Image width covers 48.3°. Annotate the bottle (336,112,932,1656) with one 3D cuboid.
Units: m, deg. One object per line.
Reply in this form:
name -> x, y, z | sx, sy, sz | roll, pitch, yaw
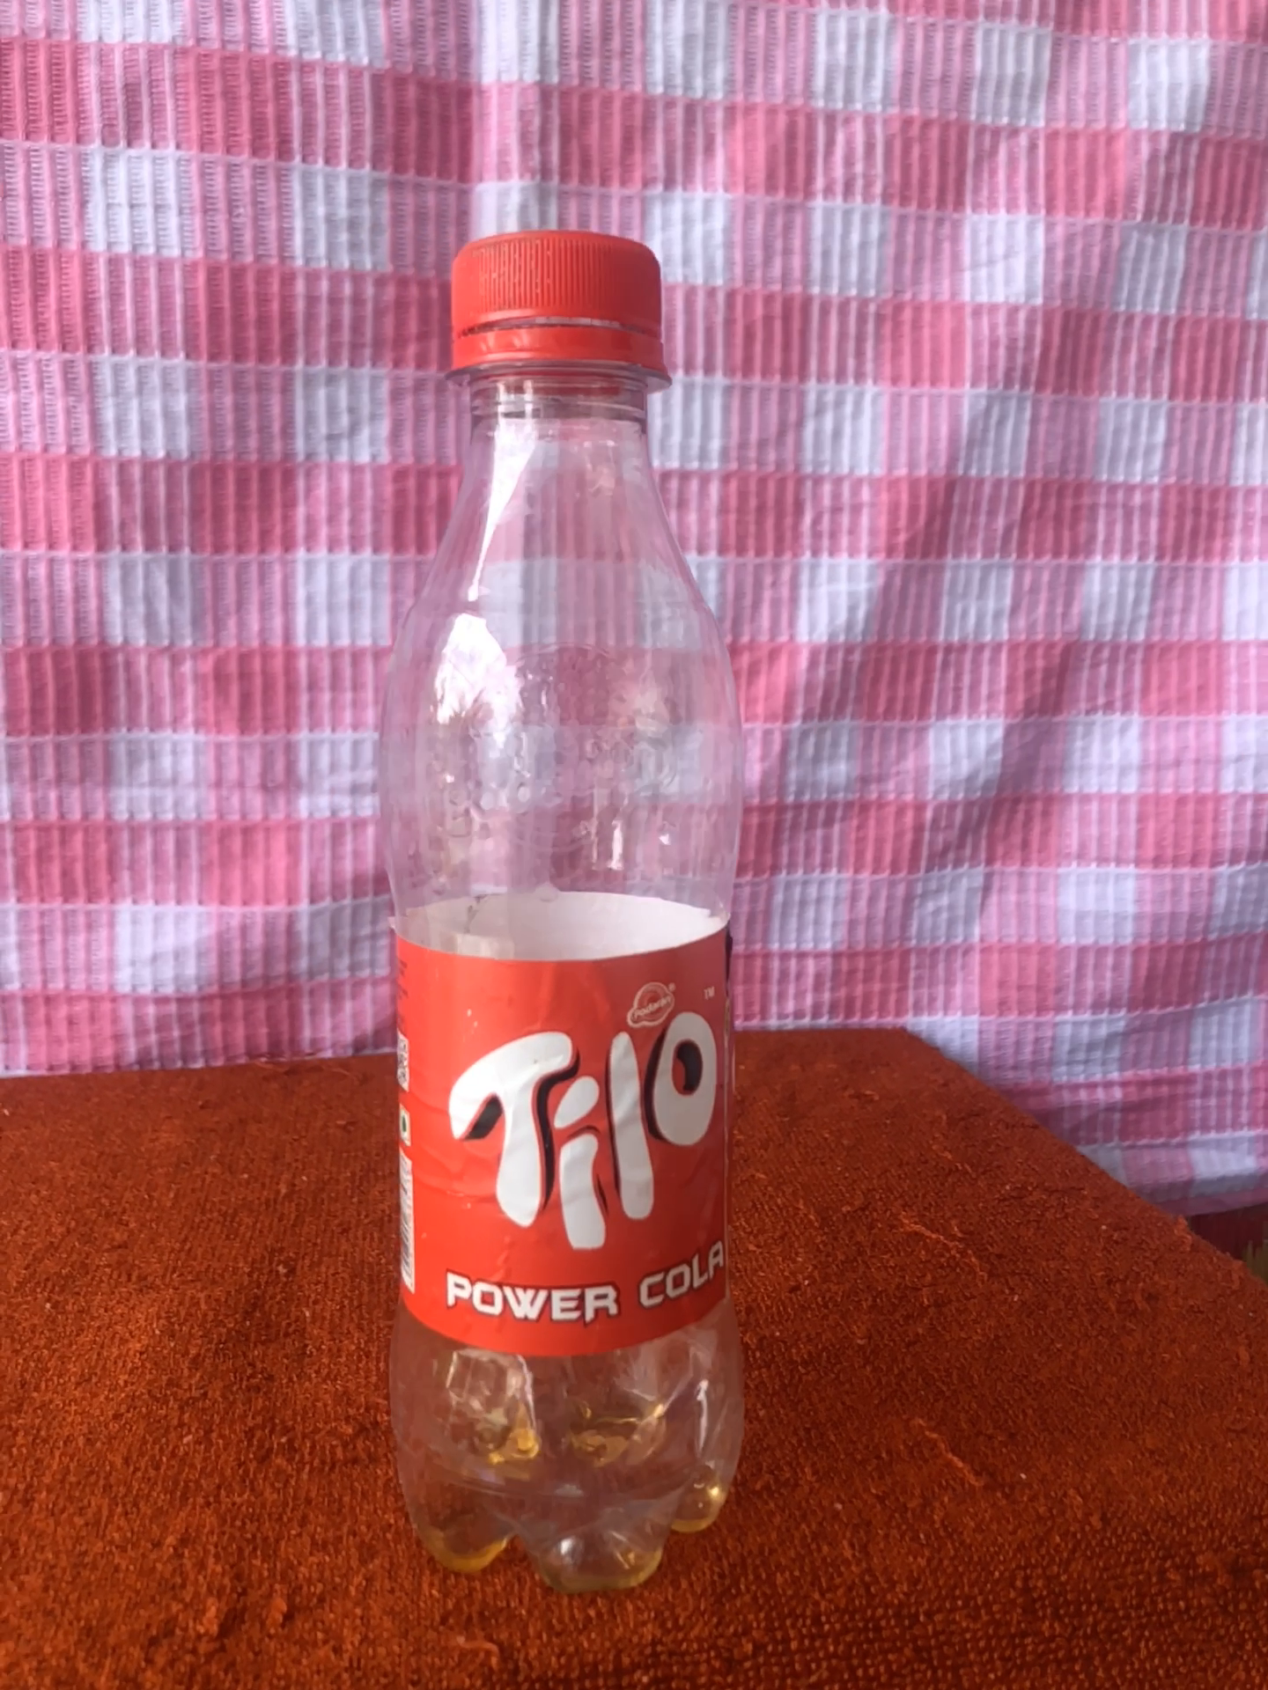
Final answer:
bottle -> -0.008, 0.008, 0.205 | 0.060, 0.189, 0.060 | 3, 12, -1
